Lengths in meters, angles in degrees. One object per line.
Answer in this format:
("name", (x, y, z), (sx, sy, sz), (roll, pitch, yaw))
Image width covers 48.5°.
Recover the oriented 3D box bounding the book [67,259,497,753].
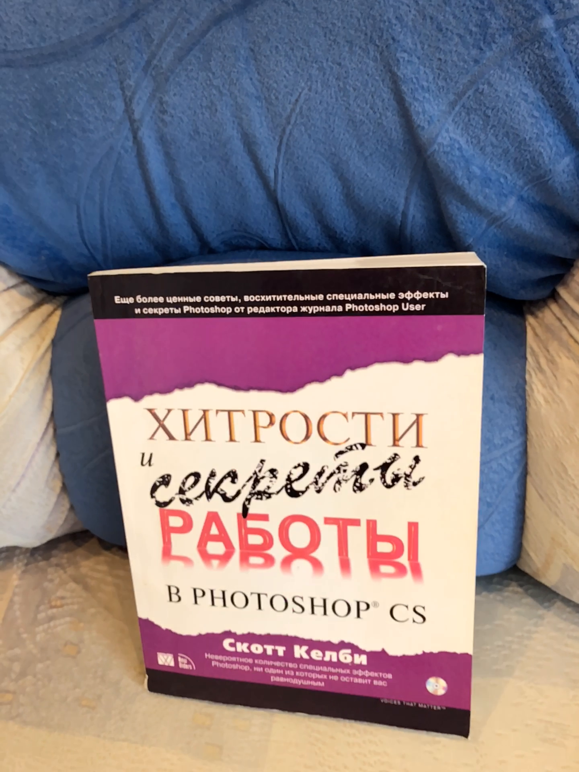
("book", (0.000, 0.072, 0.358), (0.209, 0.270, 0.030), (1, 18, 13))
